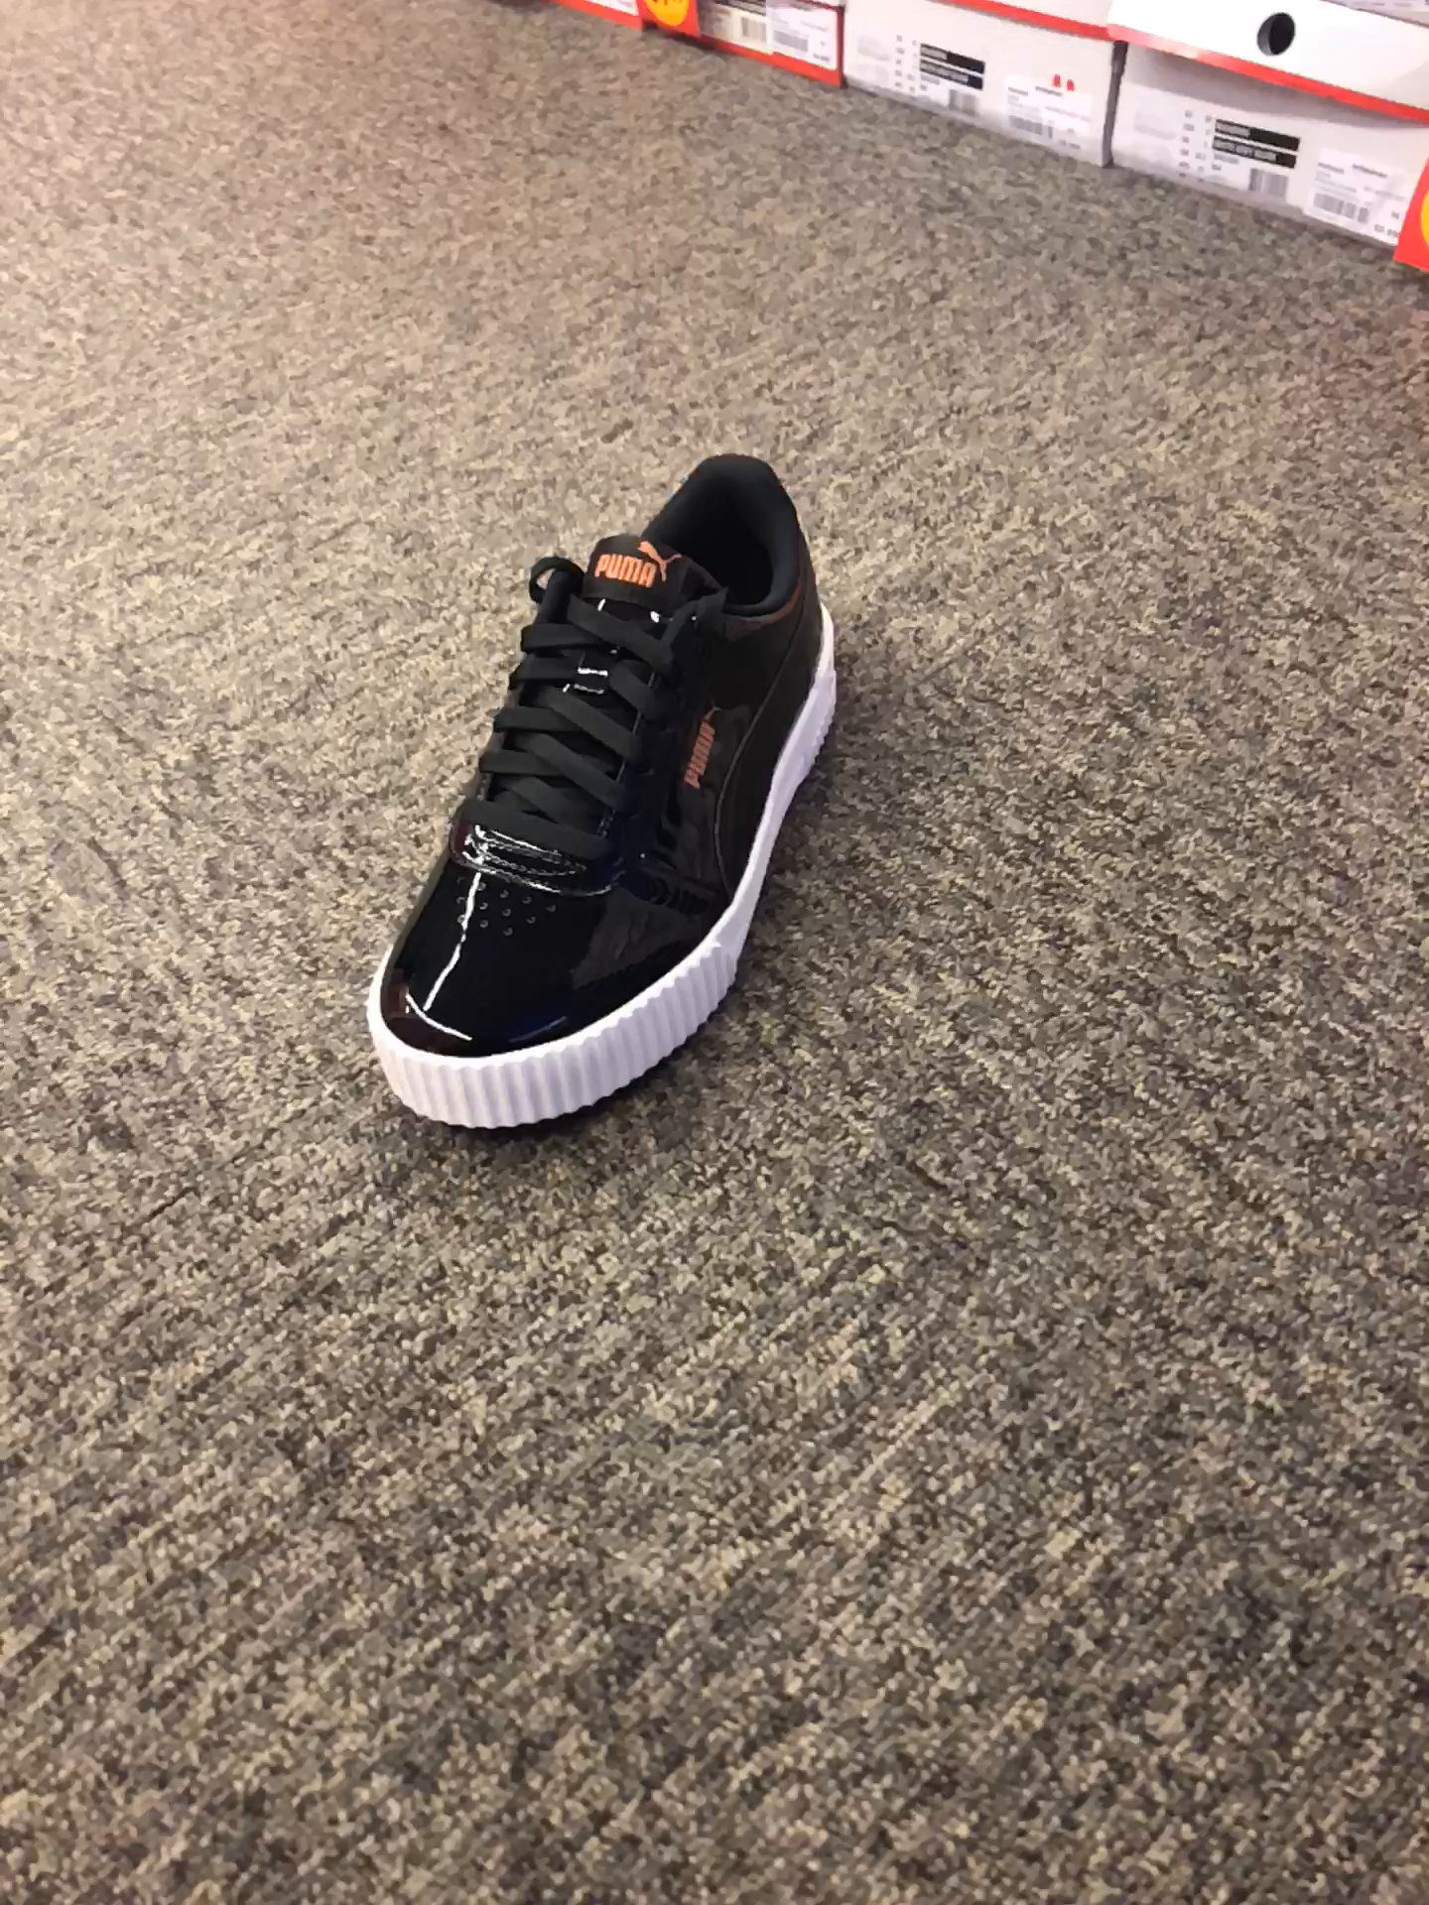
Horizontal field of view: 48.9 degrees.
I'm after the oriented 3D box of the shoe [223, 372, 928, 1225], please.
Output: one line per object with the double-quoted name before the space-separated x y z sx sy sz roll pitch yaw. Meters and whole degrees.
"shoe" -0.022 -0.063 0.492 0.100 0.099 0.261 15 53 18
